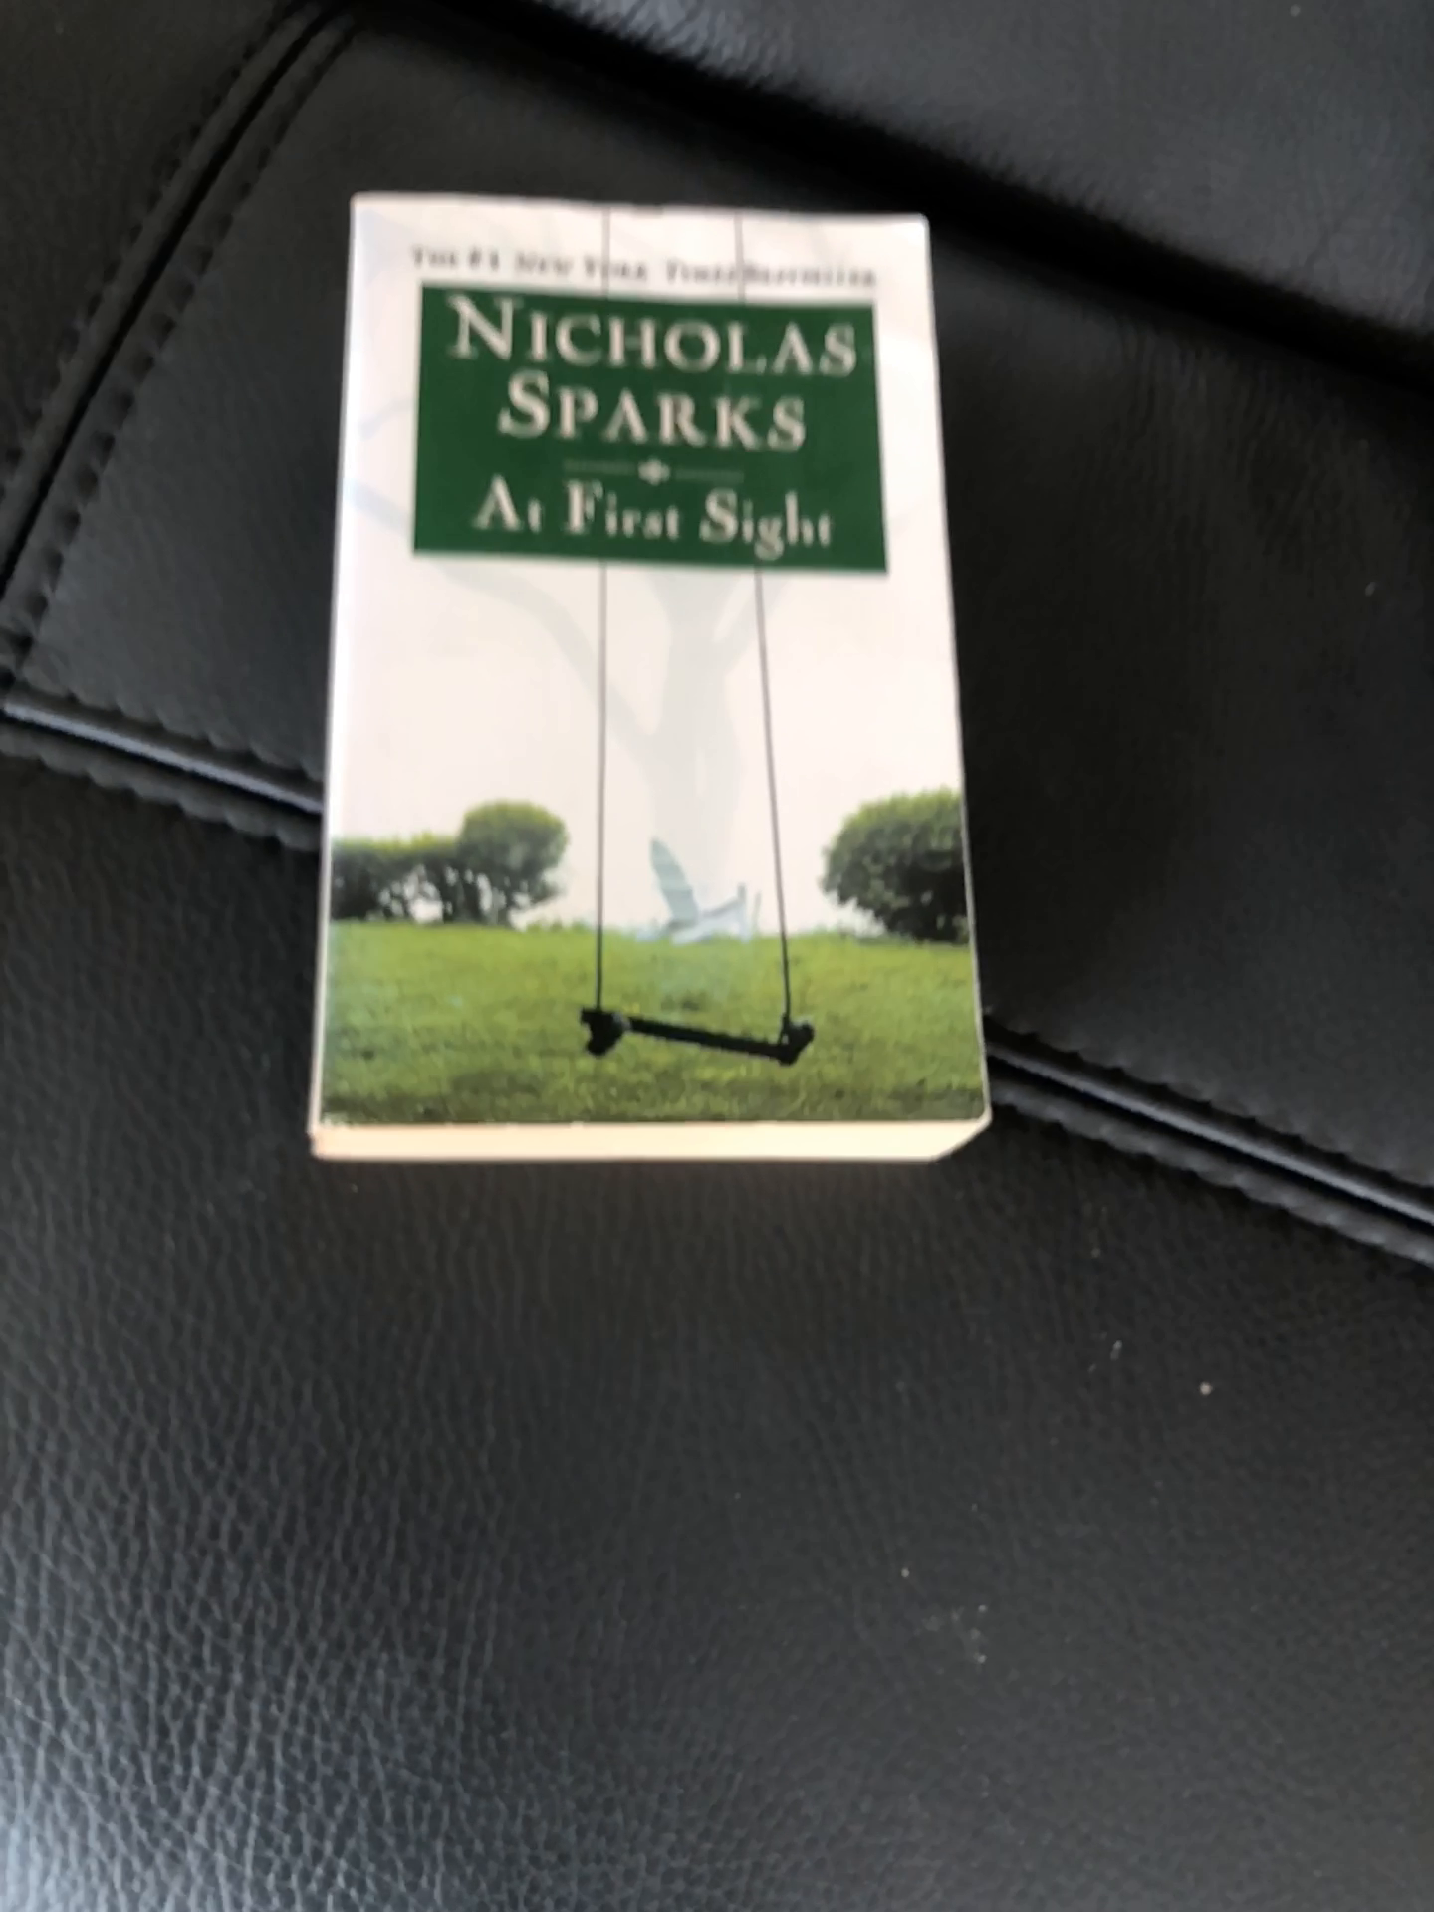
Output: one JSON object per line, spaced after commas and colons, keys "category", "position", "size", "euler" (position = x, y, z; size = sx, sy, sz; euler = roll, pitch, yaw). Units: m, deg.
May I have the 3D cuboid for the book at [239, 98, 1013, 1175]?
{"category": "book", "position": [-0.016, -0.058, 0.289], "size": [0.120, 0.030, 0.190], "euler": [1, 75, -9]}
